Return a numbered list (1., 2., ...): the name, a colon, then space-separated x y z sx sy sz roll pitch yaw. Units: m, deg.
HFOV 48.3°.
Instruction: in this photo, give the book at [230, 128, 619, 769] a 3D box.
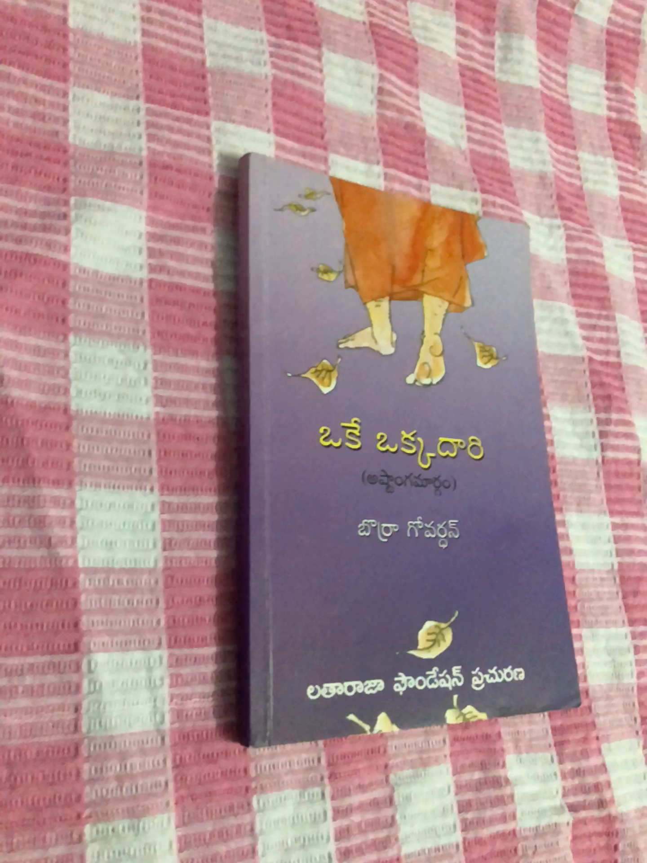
1. book: 0.040 0.003 0.274 0.151 0.020 0.210 6 74 -28
